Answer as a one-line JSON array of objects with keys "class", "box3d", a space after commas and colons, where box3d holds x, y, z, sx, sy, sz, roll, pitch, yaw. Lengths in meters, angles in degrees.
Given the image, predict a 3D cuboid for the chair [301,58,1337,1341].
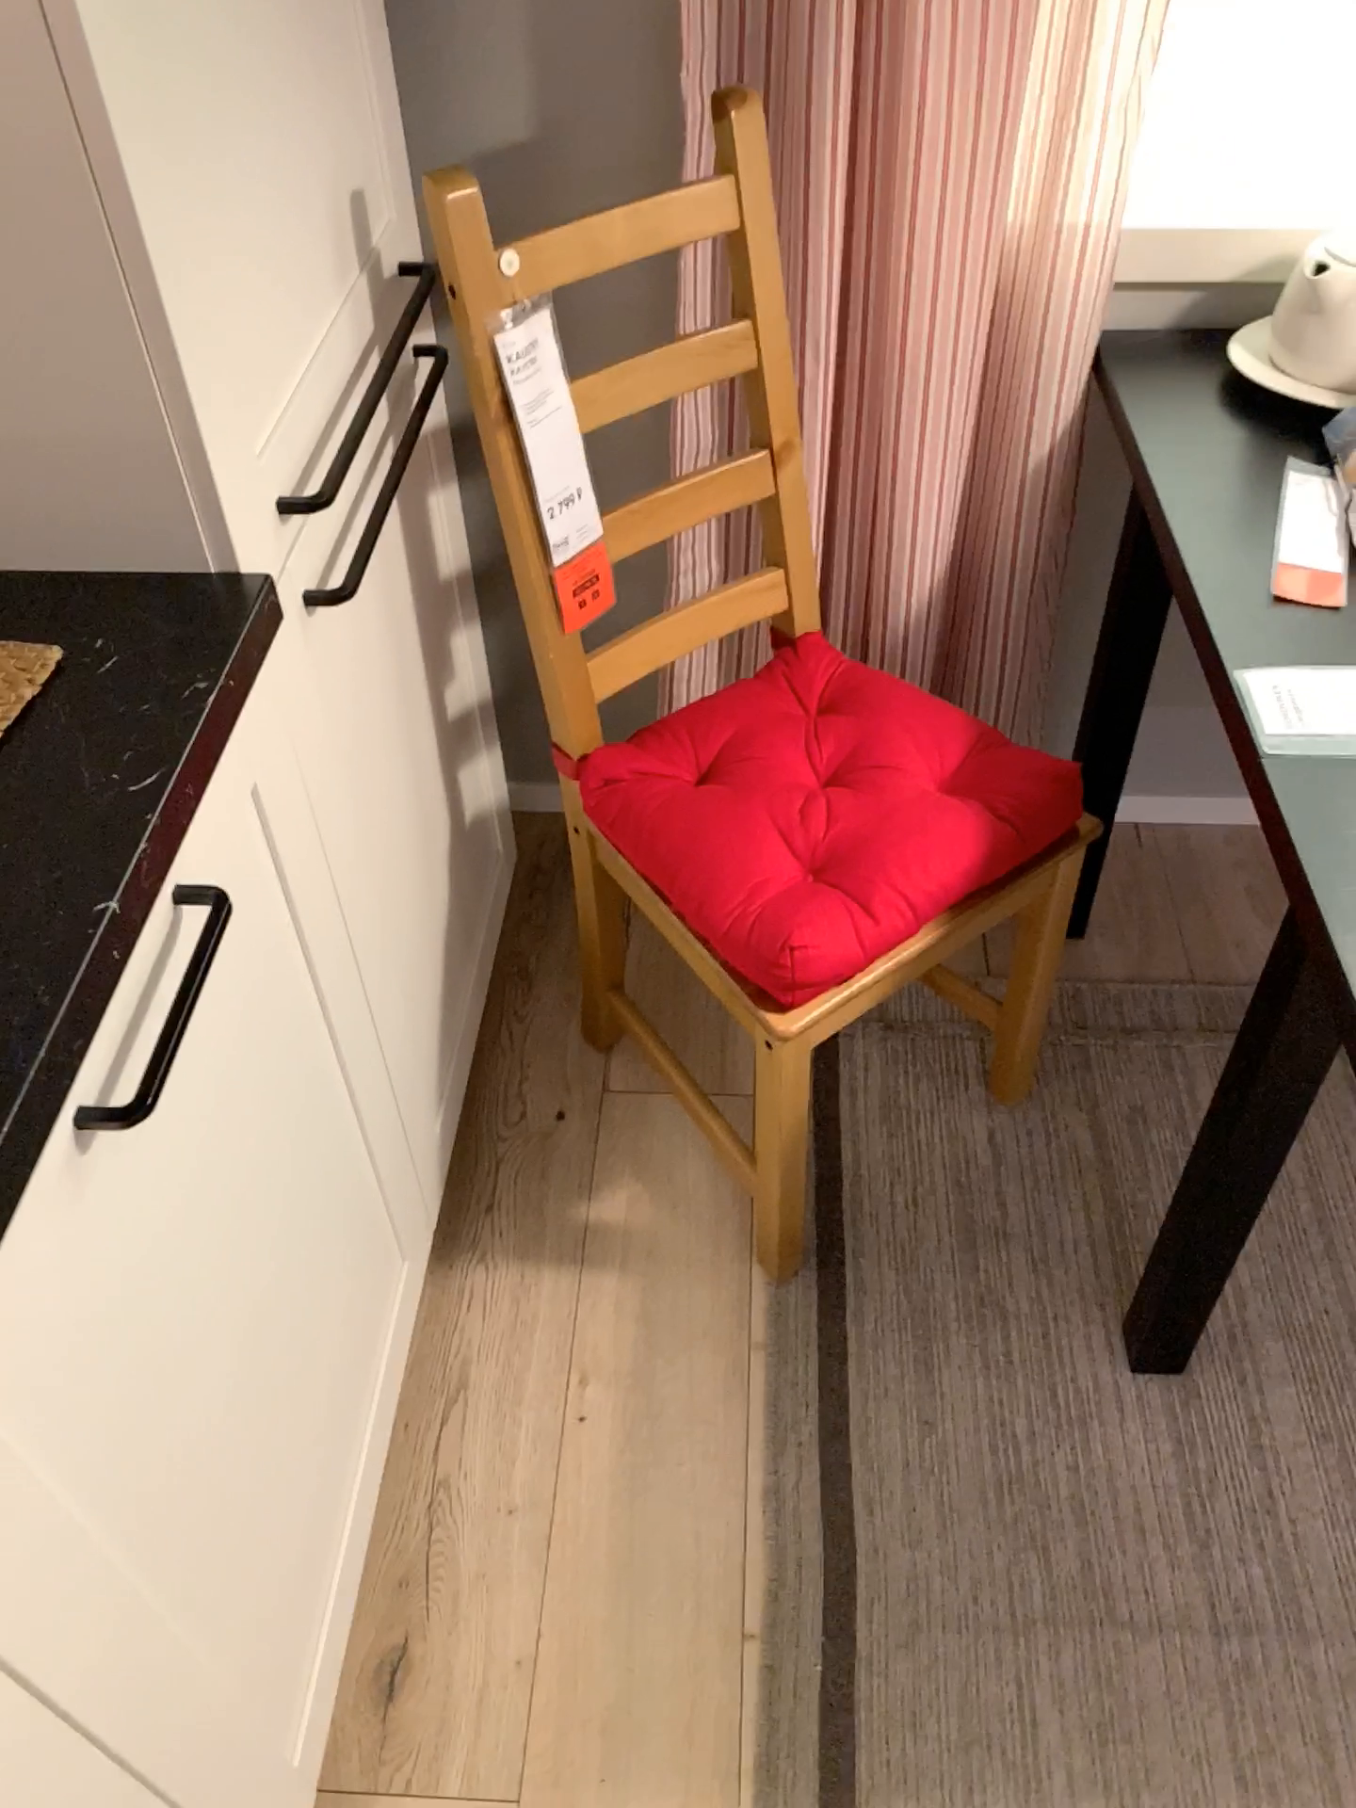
[{"class": "chair", "box3d": [0.101, -0.160, 1.390, 0.501, 1.015, 0.581, -33, 53, -26]}]
